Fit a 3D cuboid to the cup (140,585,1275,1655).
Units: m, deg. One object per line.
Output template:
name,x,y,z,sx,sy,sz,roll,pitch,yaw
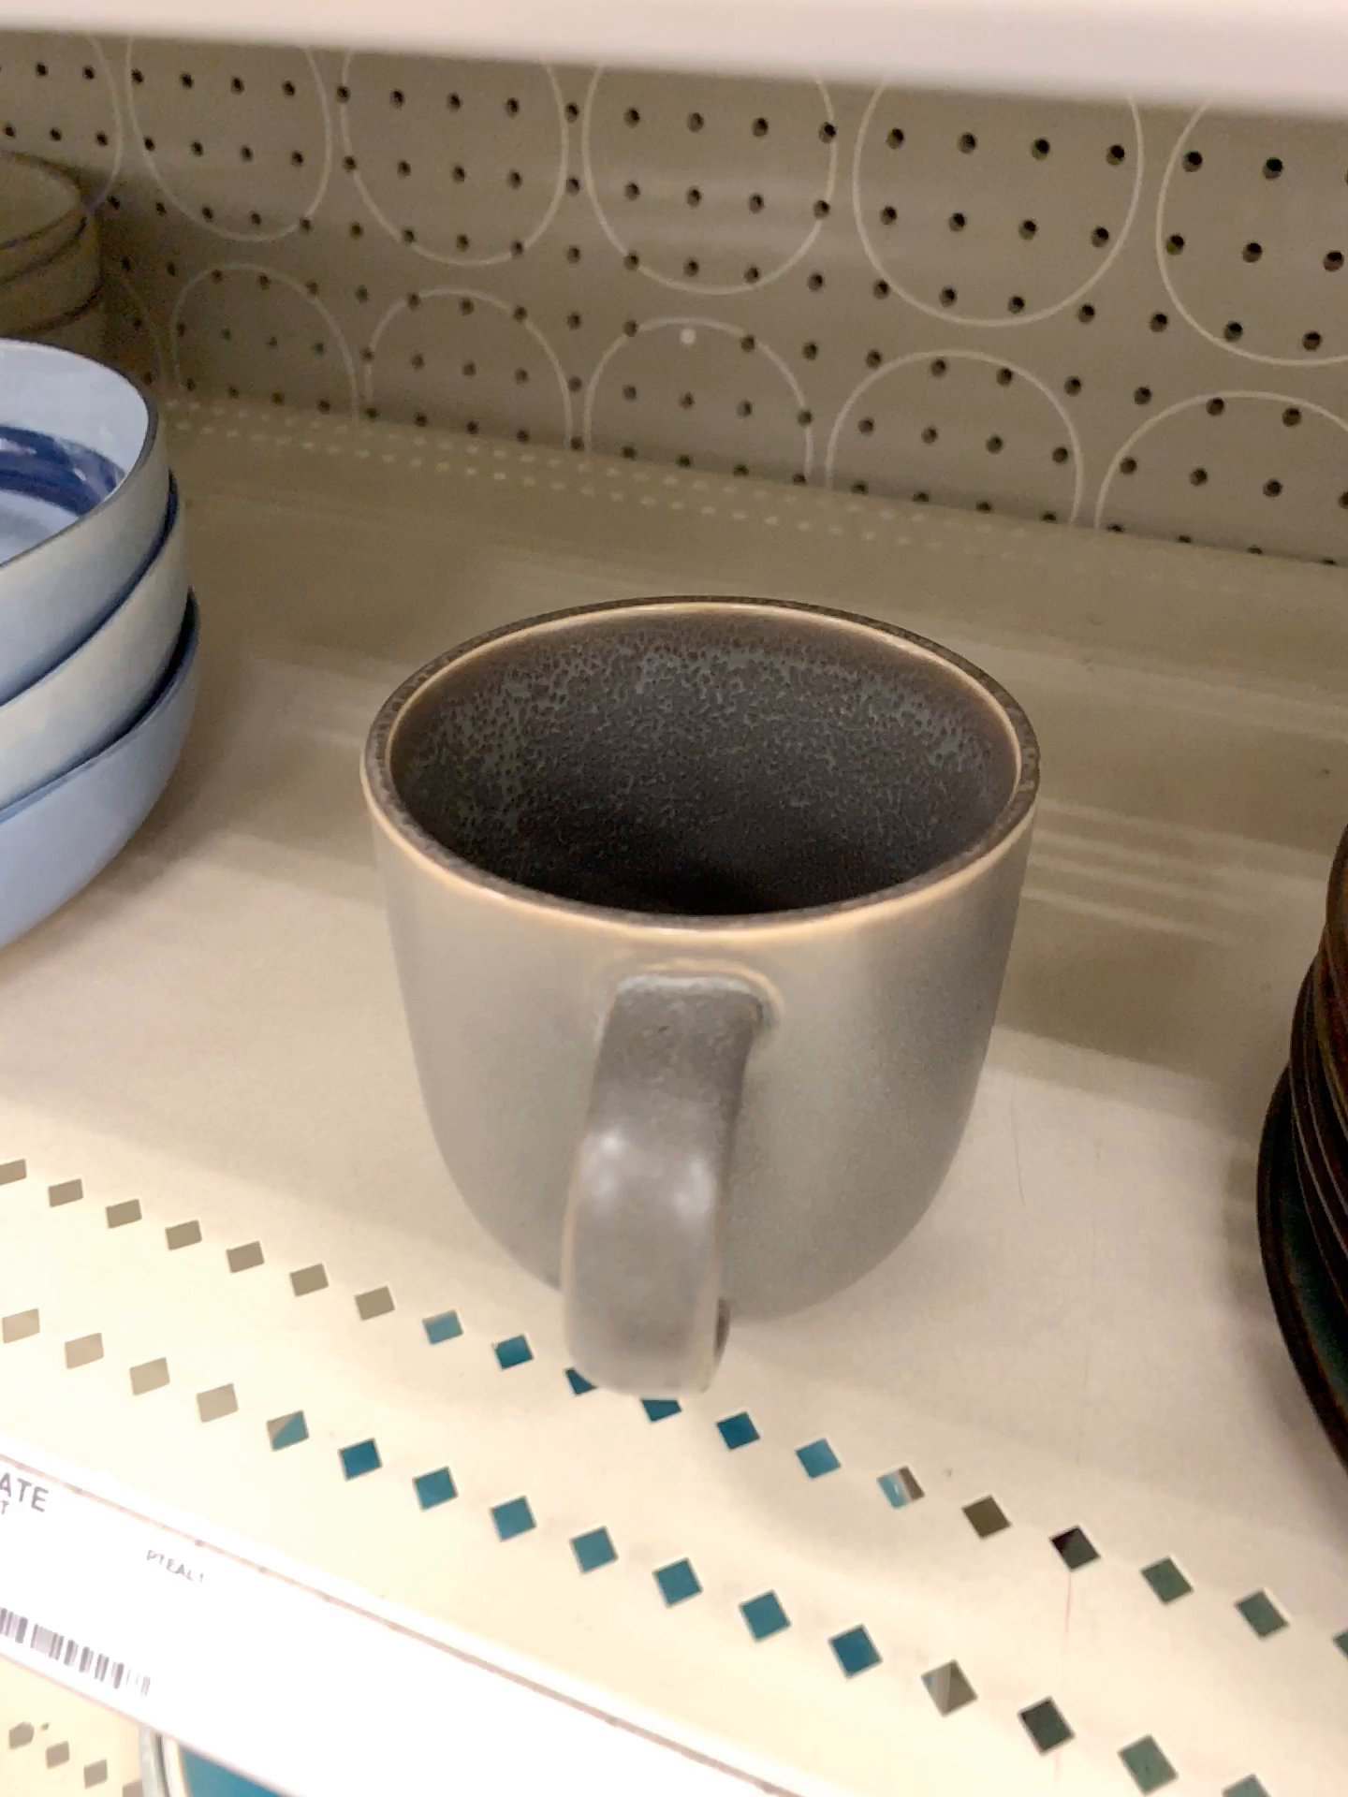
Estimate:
cup,0.003,0.021,0.199,0.100,0.080,0.131,1,37,0
